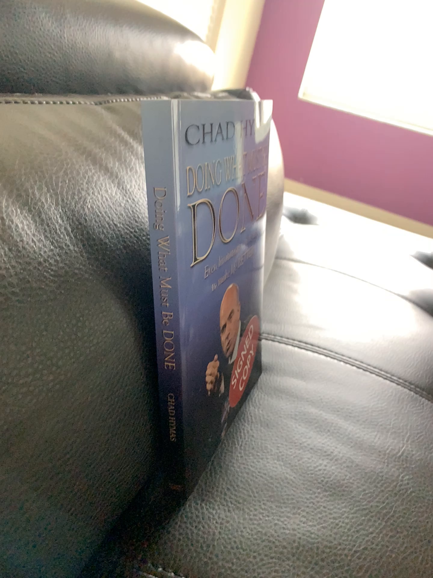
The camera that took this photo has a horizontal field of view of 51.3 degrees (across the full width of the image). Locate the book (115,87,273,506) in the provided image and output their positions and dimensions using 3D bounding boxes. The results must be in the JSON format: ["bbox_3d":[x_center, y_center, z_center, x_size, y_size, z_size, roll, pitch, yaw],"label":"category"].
[{"bbox_3d":[0.000,-0.006,0.298,0.025,0.225,0.158,7,22,22],"label":"book"}]
